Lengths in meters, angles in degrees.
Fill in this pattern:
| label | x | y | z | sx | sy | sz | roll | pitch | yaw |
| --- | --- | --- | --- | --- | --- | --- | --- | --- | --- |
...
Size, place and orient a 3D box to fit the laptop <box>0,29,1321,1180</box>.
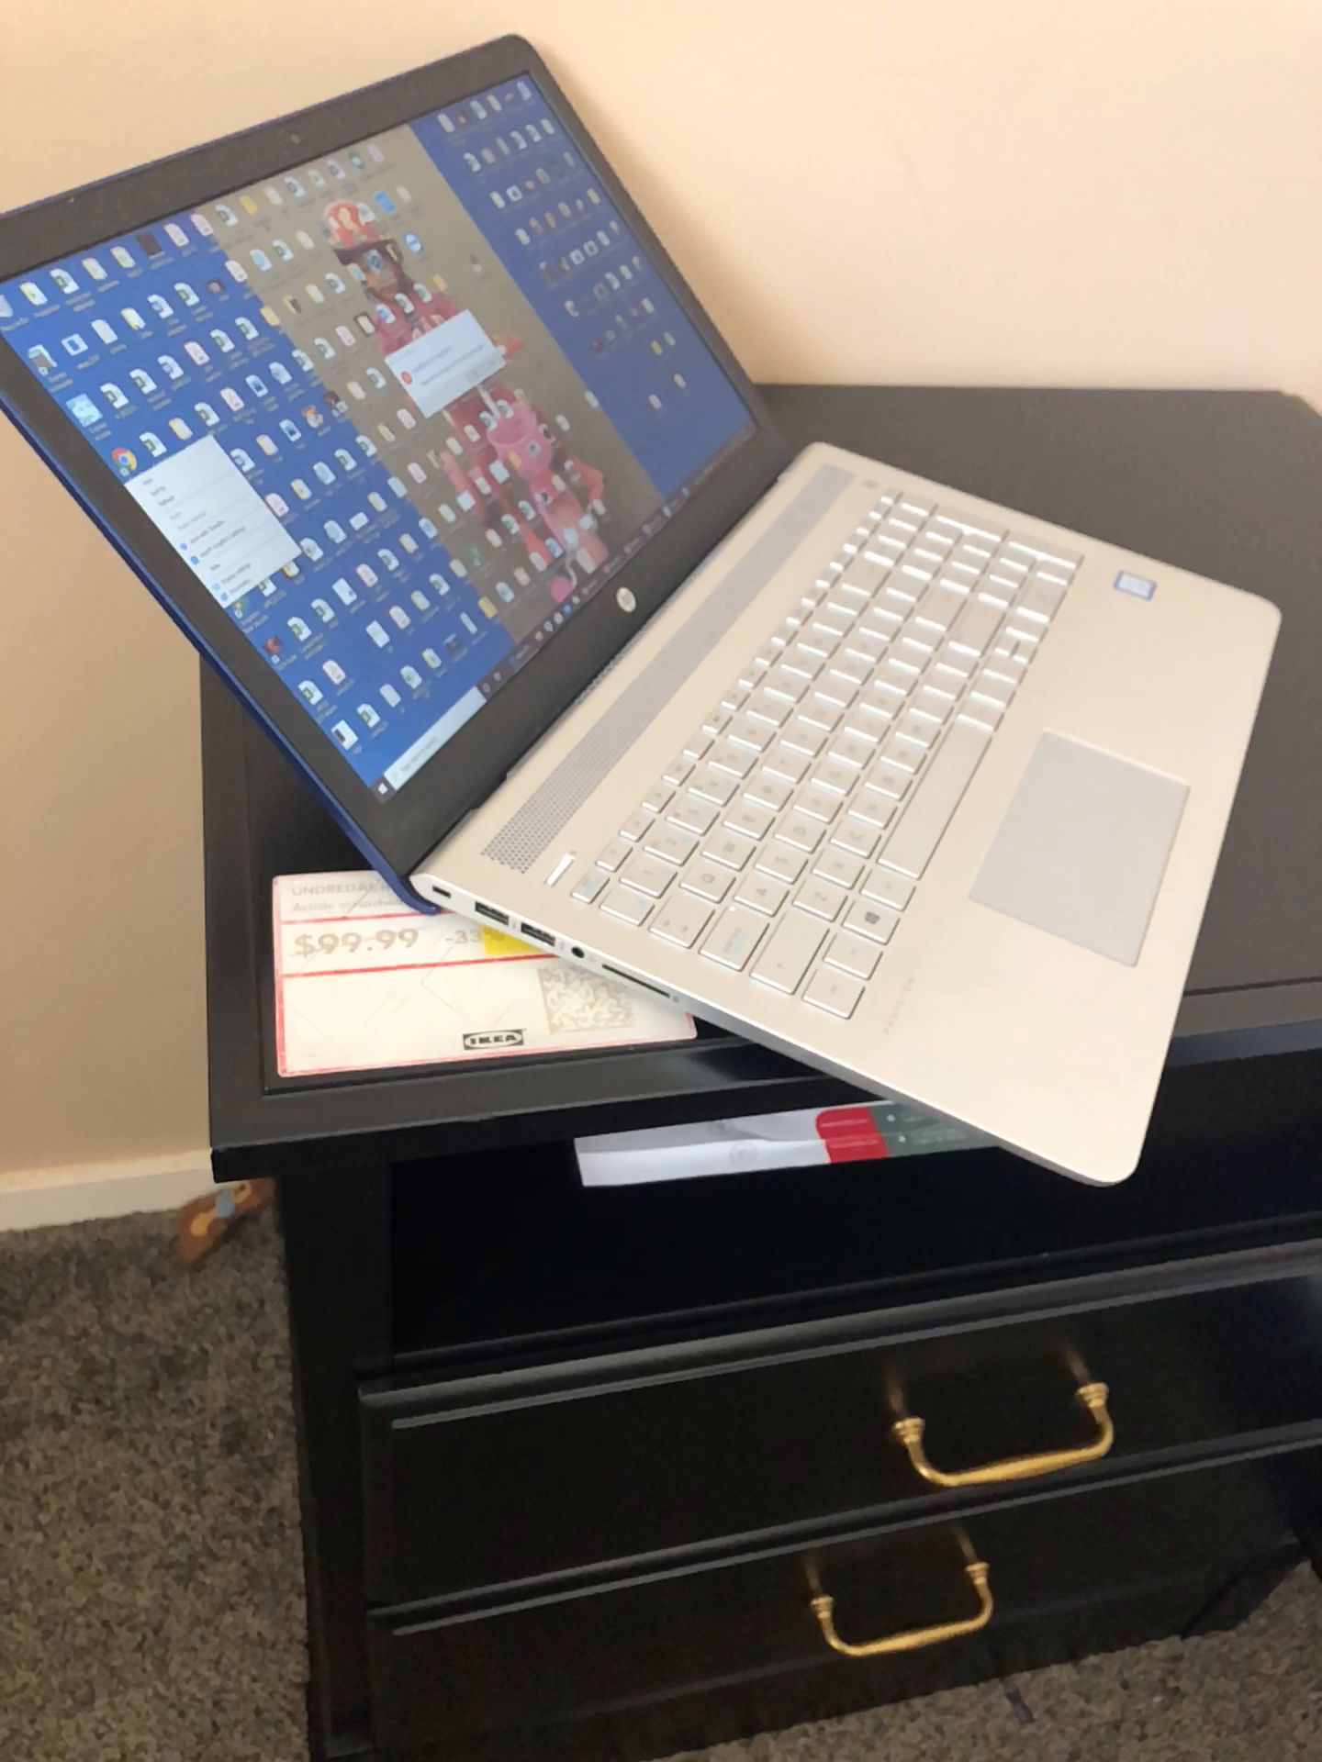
| label | x | y | z | sx | sy | sz | roll | pitch | yaw |
| --- | --- | --- | --- | --- | --- | --- | --- | --- | --- |
| laptop | 0.035 | -0.152 | 0.542 | 0.400 | 0.141 | 0.367 | 24 | 44 | 12 |
